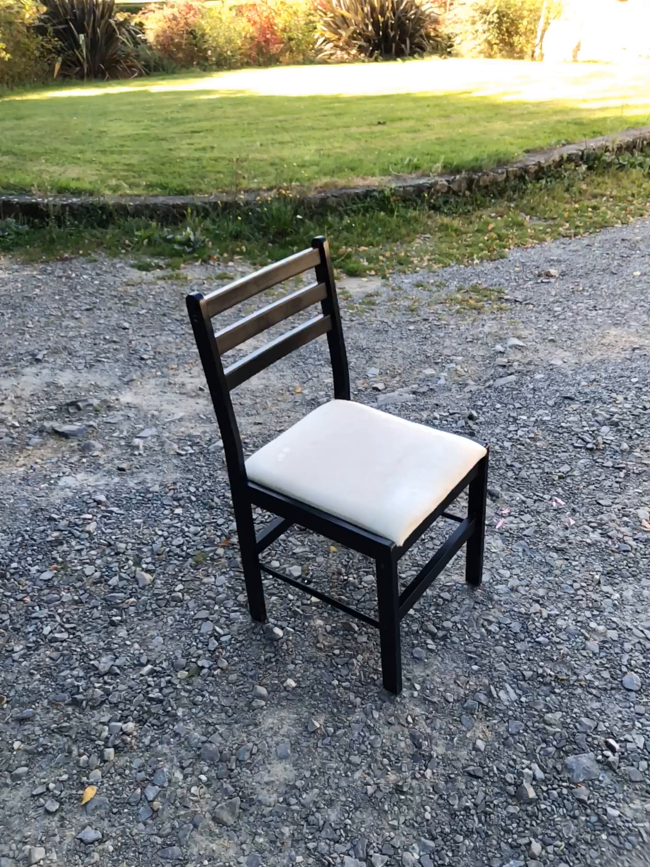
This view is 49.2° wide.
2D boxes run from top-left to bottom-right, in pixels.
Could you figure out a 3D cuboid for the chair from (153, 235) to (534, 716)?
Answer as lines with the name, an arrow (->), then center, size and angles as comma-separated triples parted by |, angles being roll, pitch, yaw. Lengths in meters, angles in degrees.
chair -> 0.060, 0.050, 1.569 | 0.530, 0.775, 0.543 | 18, 35, 29
